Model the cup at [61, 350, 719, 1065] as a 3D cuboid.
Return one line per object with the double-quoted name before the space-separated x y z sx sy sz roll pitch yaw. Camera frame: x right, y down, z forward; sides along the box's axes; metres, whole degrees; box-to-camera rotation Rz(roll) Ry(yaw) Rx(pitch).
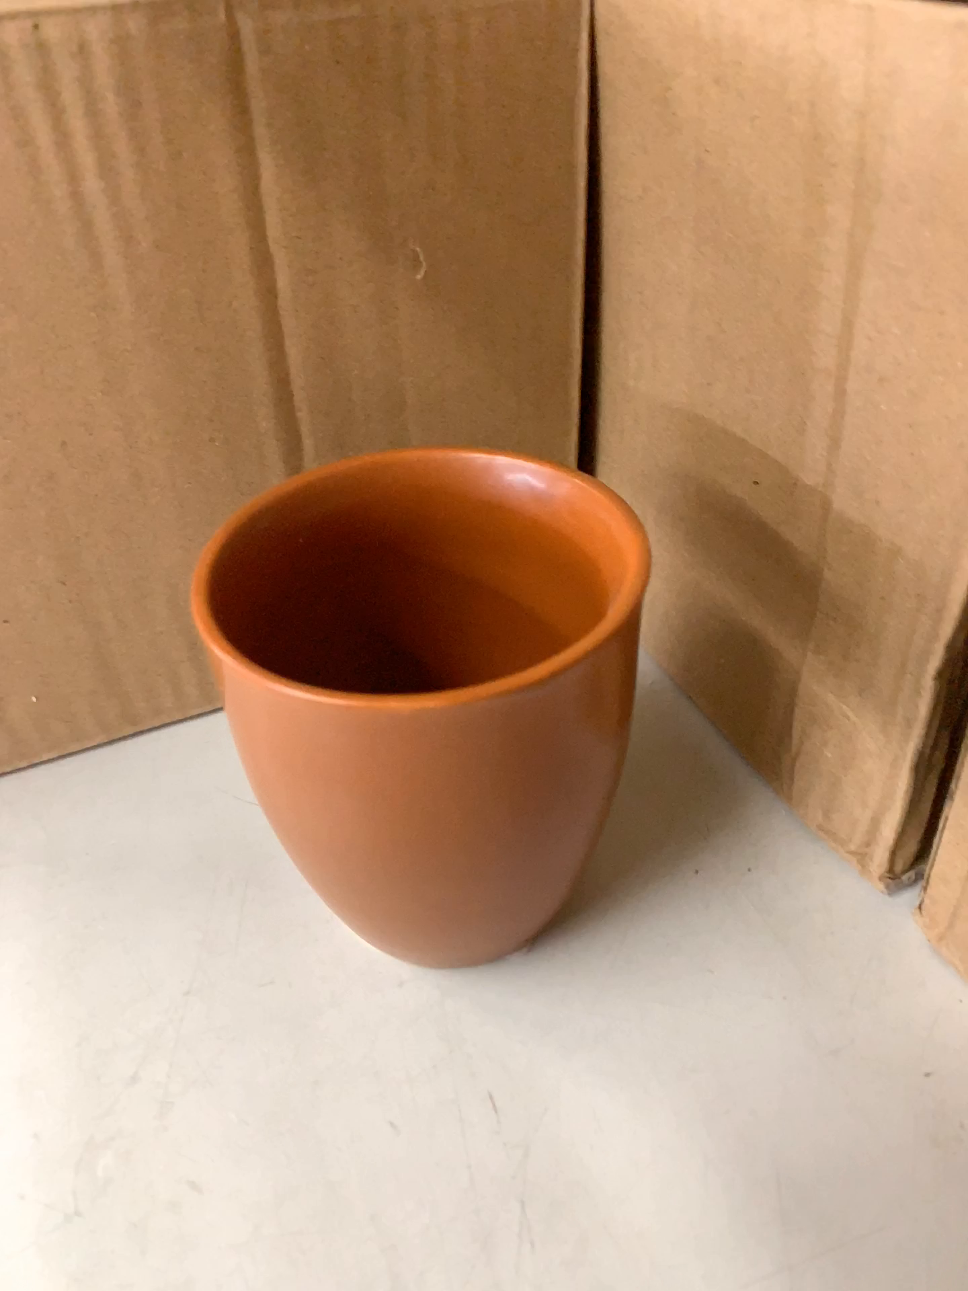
"cup" -0.009 0.006 0.175 0.070 0.079 0.070 -4 39 3
